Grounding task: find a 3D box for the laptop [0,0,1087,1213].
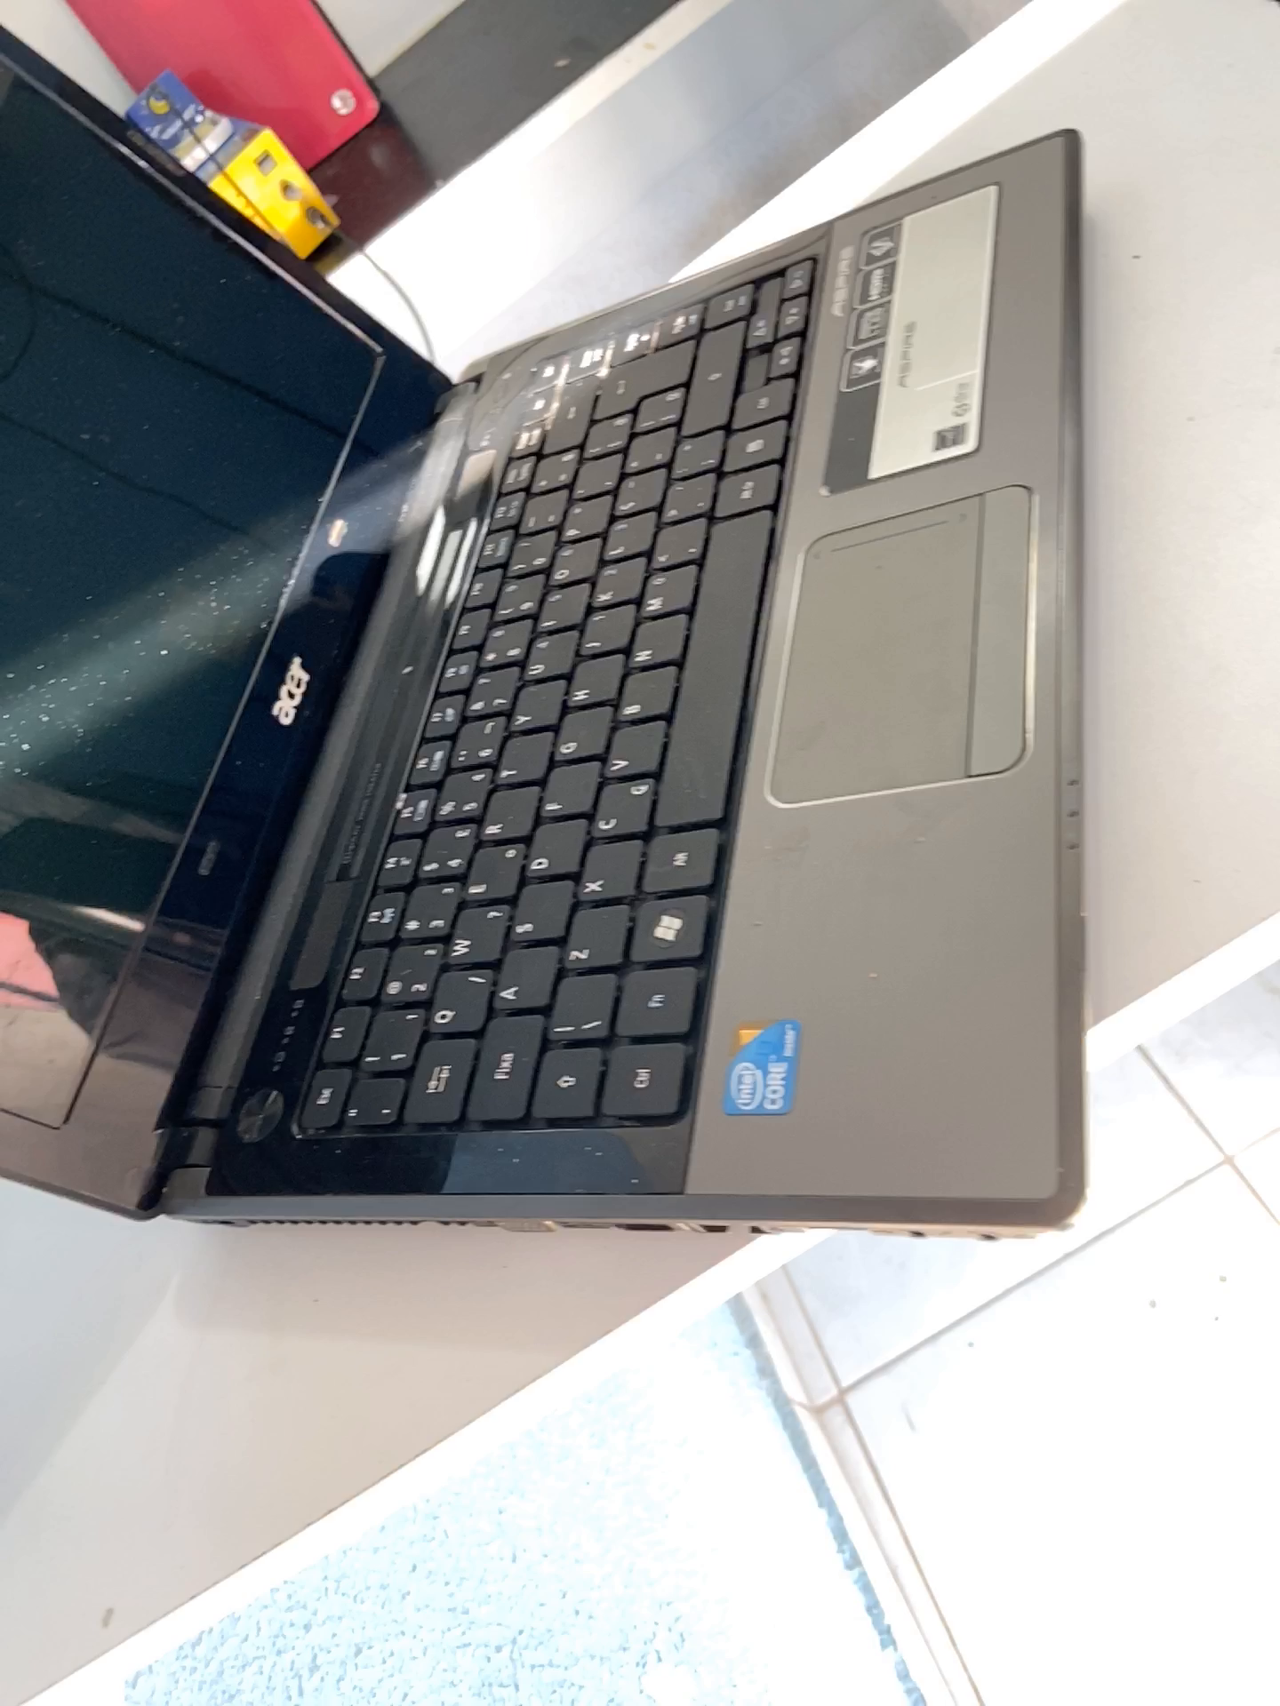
[{"bbox_3d":[-0.083,-0.113,0.325,0.318,0.207,0.338,-9,54,30],"label":"laptop"}]
